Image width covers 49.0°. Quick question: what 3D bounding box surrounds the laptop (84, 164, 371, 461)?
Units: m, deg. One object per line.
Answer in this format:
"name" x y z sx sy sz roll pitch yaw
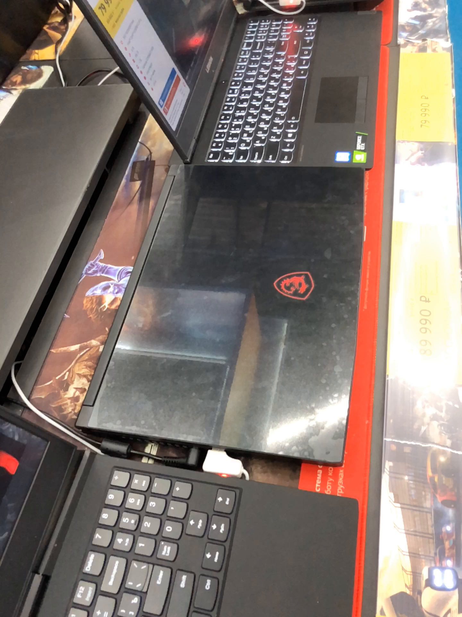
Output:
"laptop" 0.015 -0.030 0.535 0.238 0.002 0.354 4 57 14
